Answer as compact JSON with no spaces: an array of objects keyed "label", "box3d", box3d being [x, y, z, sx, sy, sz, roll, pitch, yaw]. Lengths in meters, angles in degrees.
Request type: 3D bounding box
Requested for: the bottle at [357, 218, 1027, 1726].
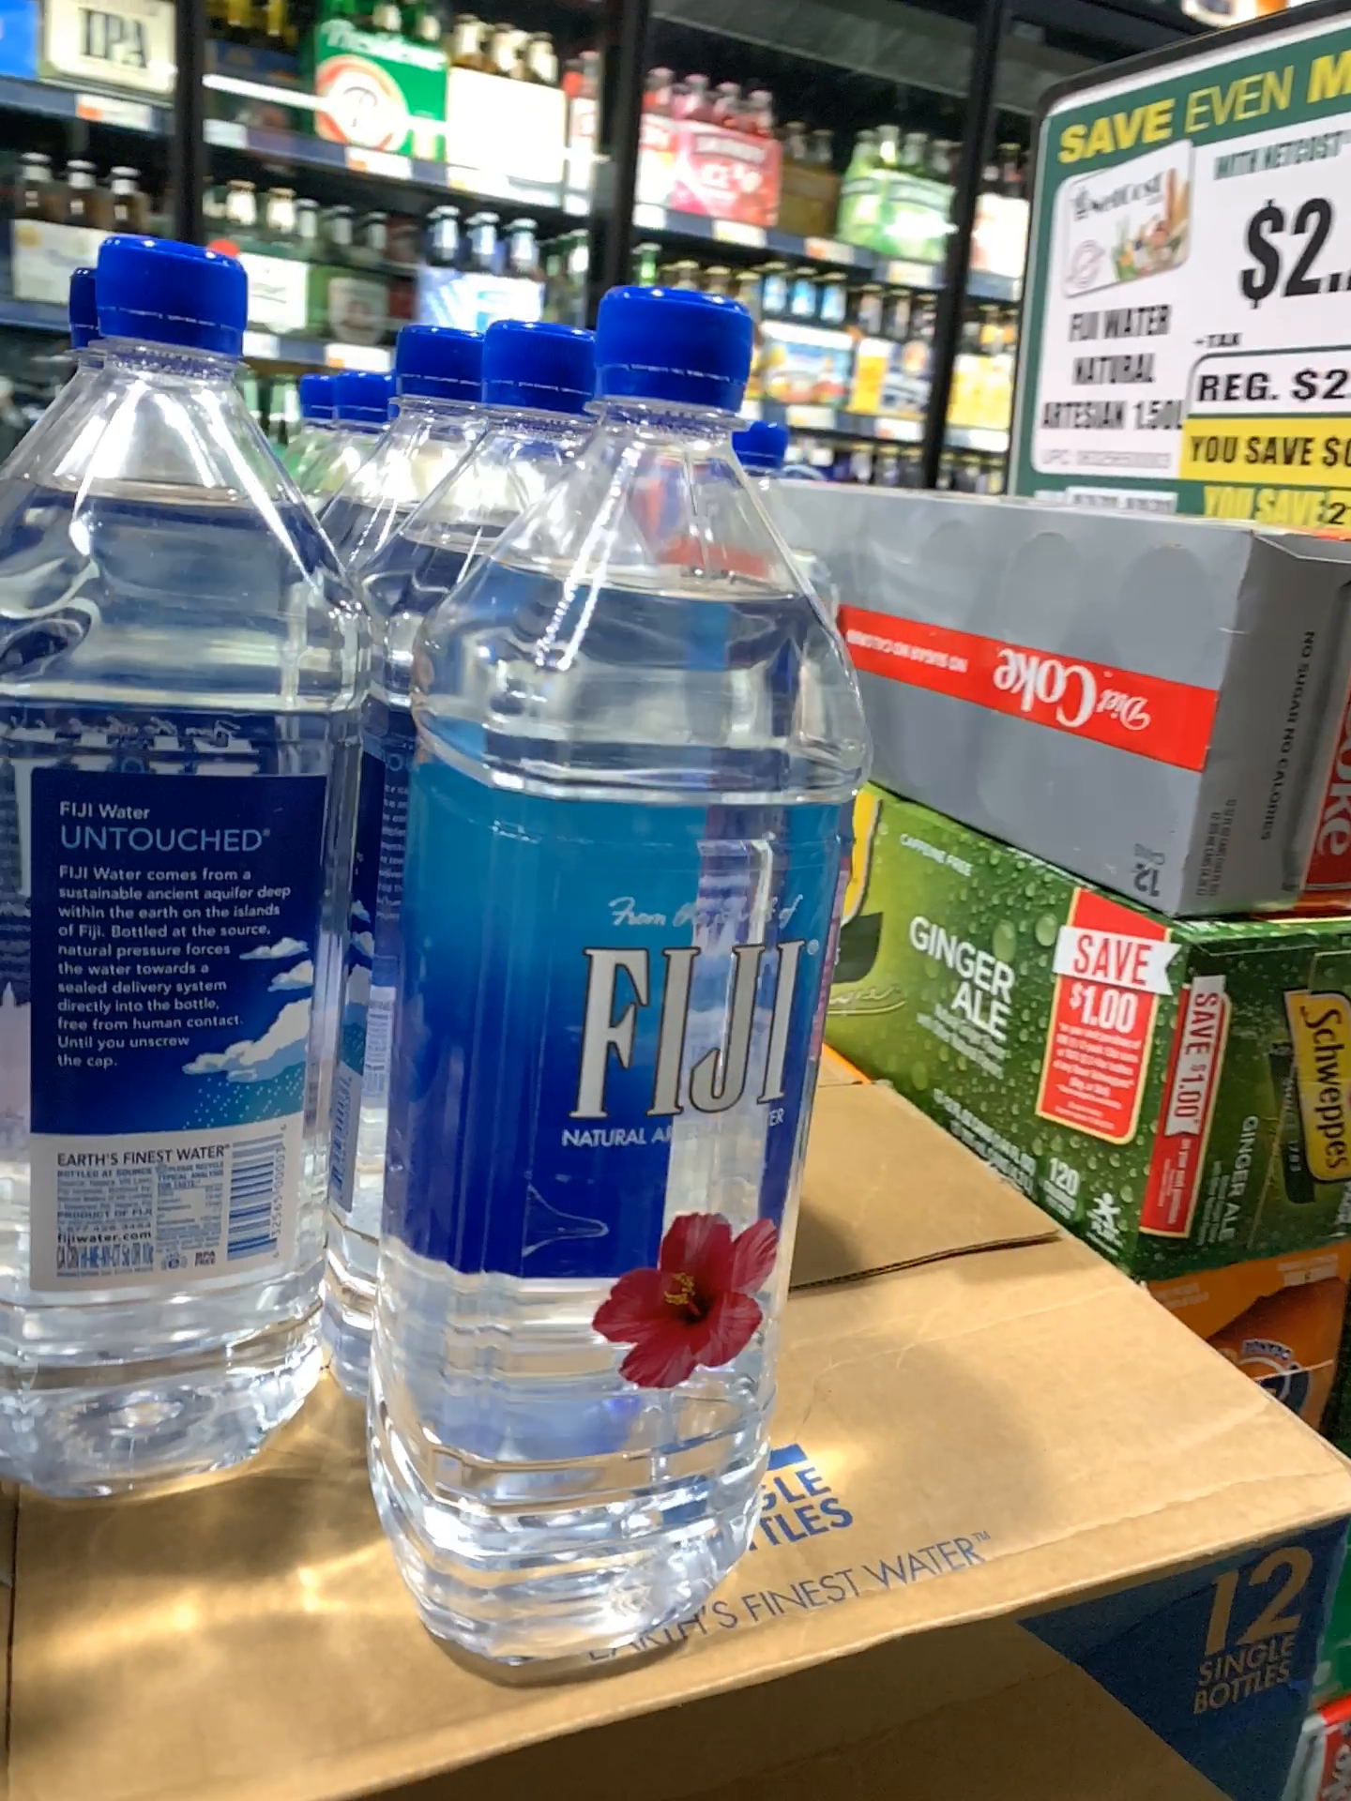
[{"label":"bottle","box3d":[-0.011,0.021,0.292,0.090,0.279,0.080,0,18,-21]}]
